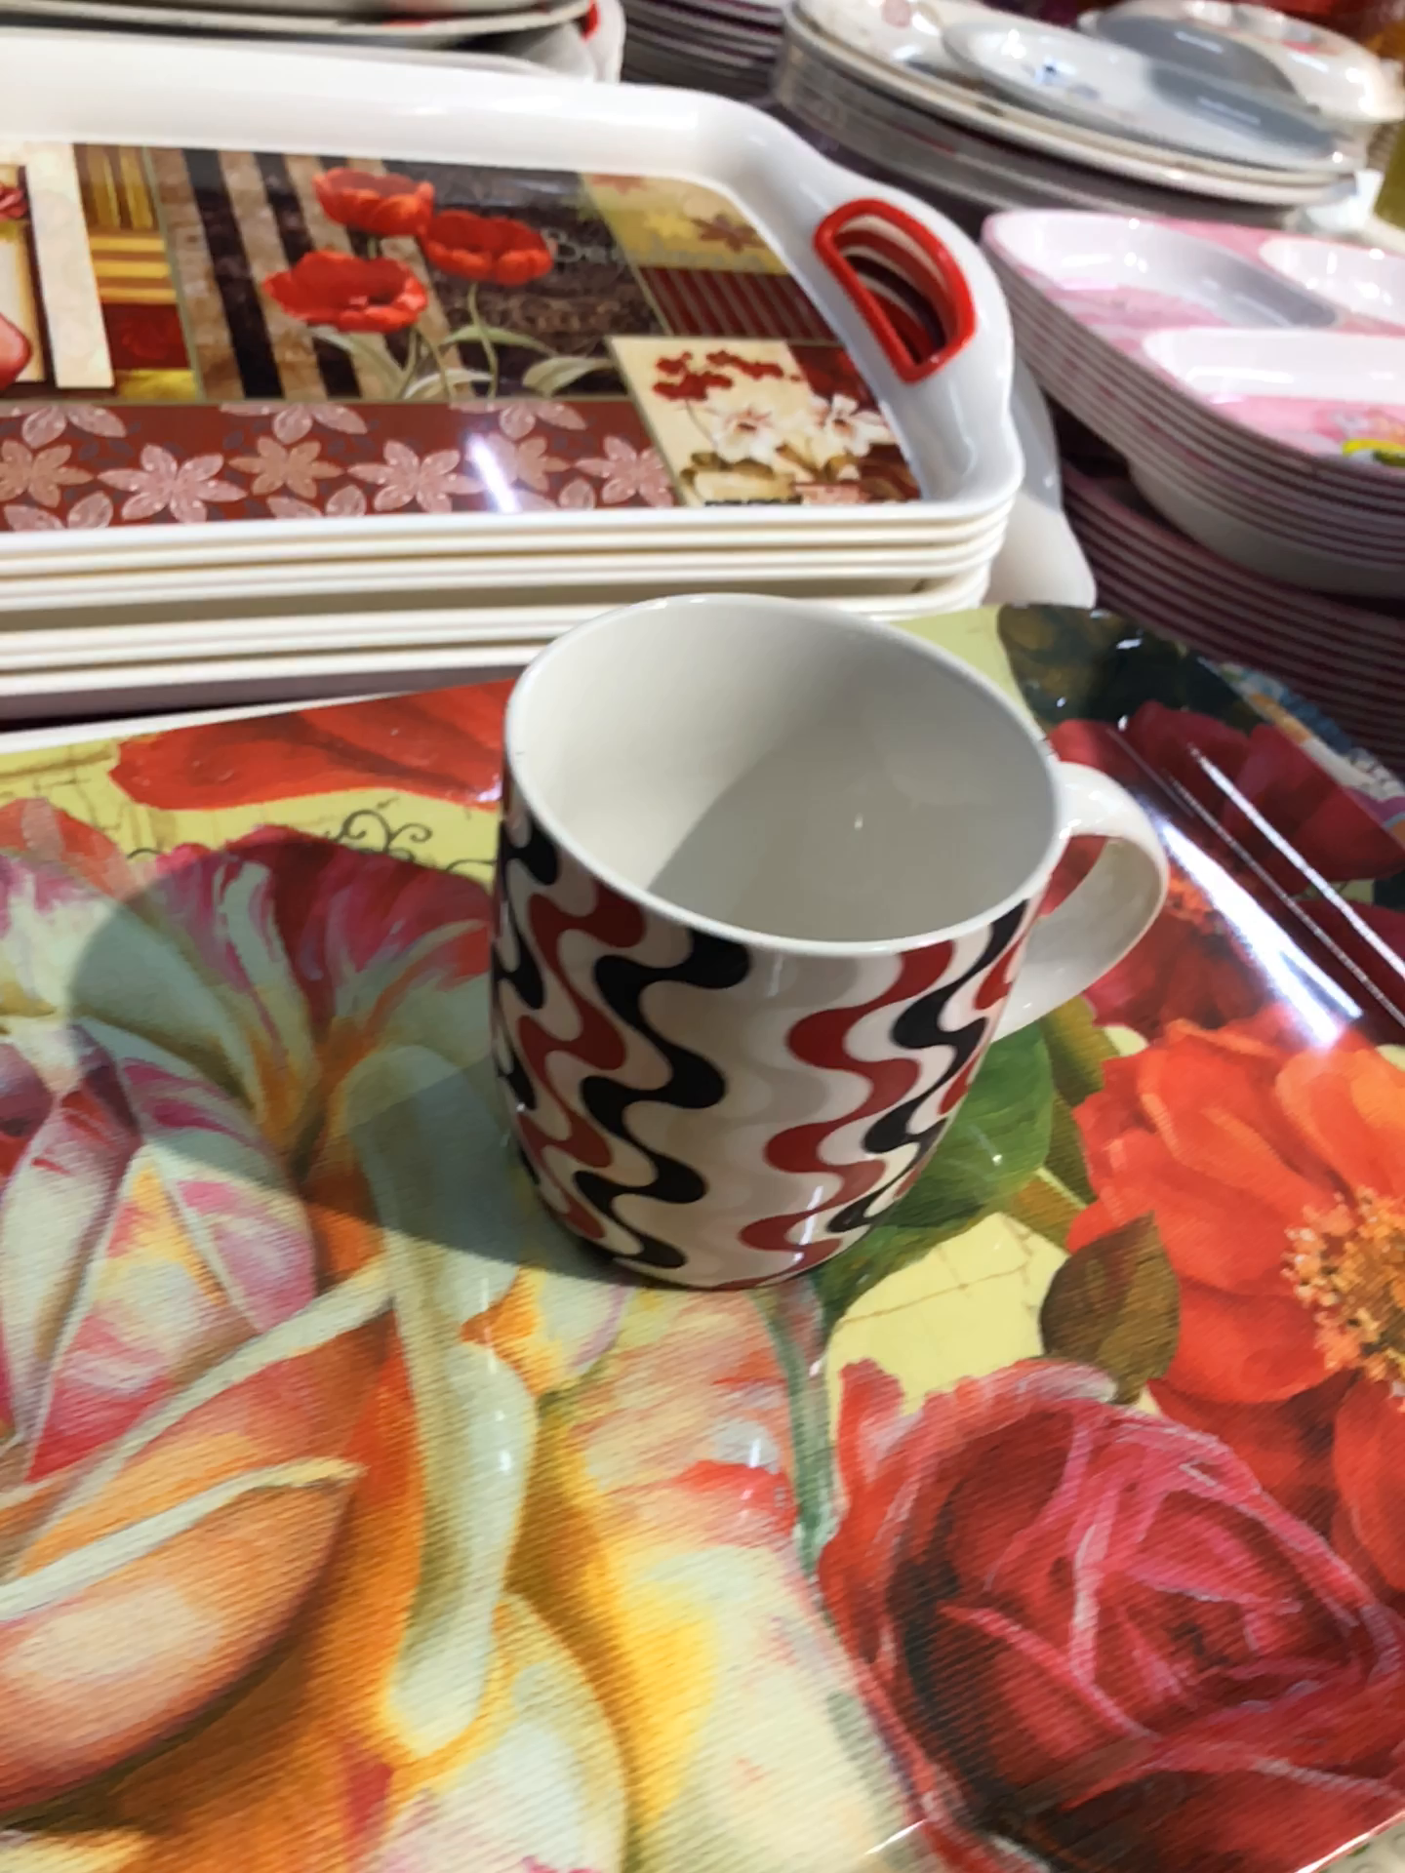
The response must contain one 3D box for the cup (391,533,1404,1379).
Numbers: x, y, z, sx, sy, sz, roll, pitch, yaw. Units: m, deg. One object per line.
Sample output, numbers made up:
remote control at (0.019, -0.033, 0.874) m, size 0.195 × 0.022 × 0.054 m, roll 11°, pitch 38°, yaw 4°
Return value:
cup at (0.025, -0.005, 0.263) m, size 0.130 × 0.079 × 0.090 m, roll -11°, pitch 45°, yaw -24°
